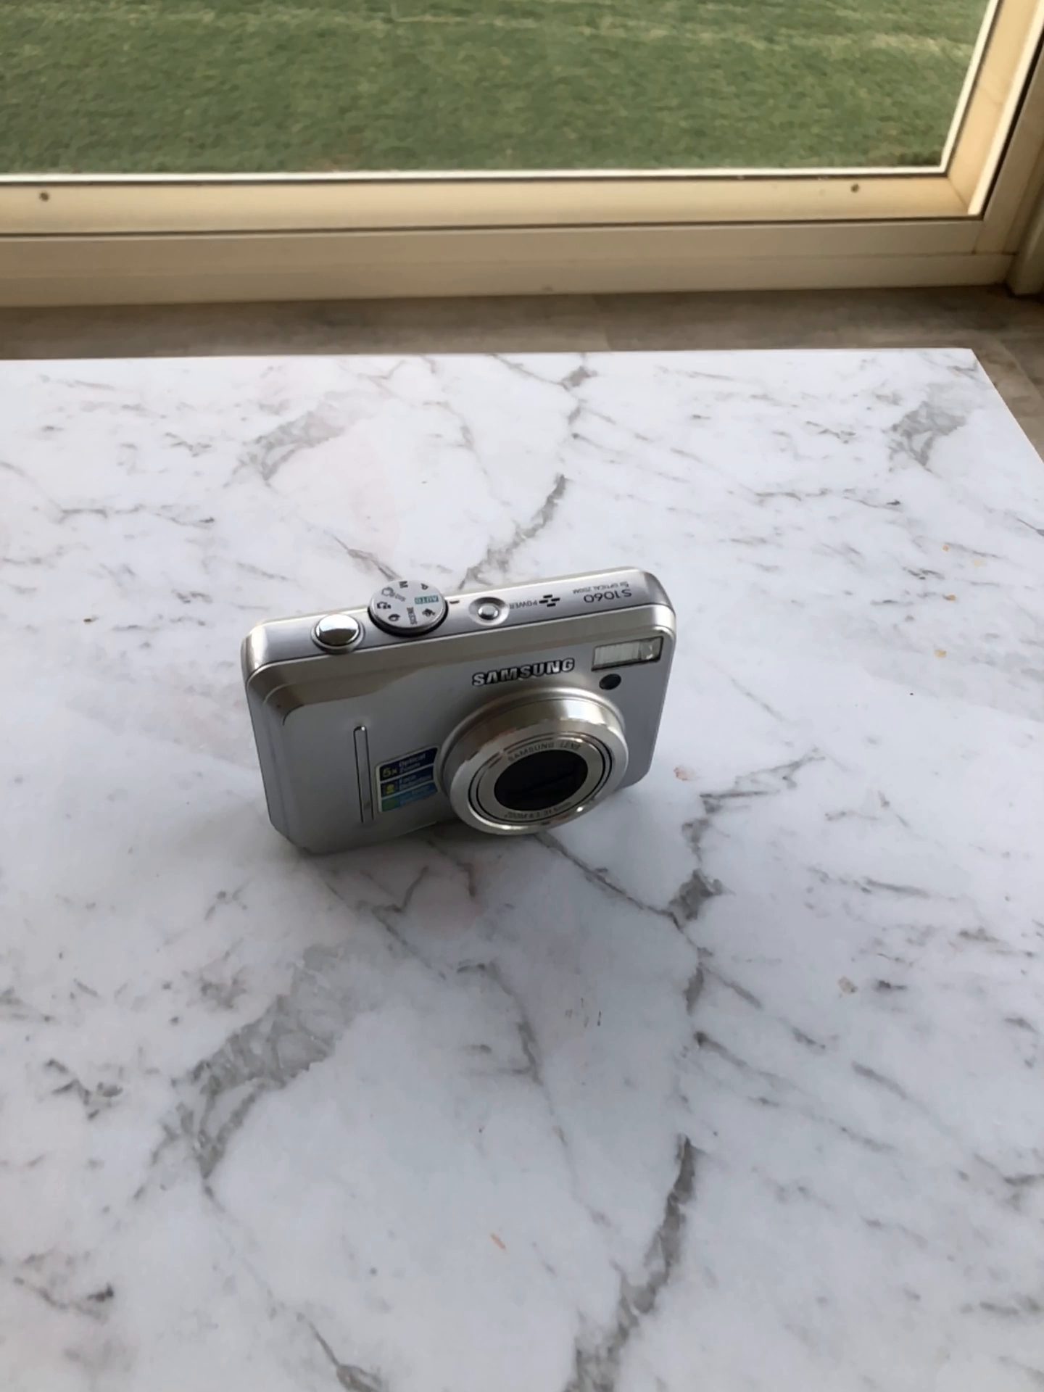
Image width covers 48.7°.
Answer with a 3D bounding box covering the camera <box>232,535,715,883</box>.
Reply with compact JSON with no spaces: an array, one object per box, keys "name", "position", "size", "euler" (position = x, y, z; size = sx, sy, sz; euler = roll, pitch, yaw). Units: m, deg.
[{"name":"camera","position":[-0.012,0.003,0.272],"size":[0.099,0.061,0.034],"euler":[-10,49,-12]}]
